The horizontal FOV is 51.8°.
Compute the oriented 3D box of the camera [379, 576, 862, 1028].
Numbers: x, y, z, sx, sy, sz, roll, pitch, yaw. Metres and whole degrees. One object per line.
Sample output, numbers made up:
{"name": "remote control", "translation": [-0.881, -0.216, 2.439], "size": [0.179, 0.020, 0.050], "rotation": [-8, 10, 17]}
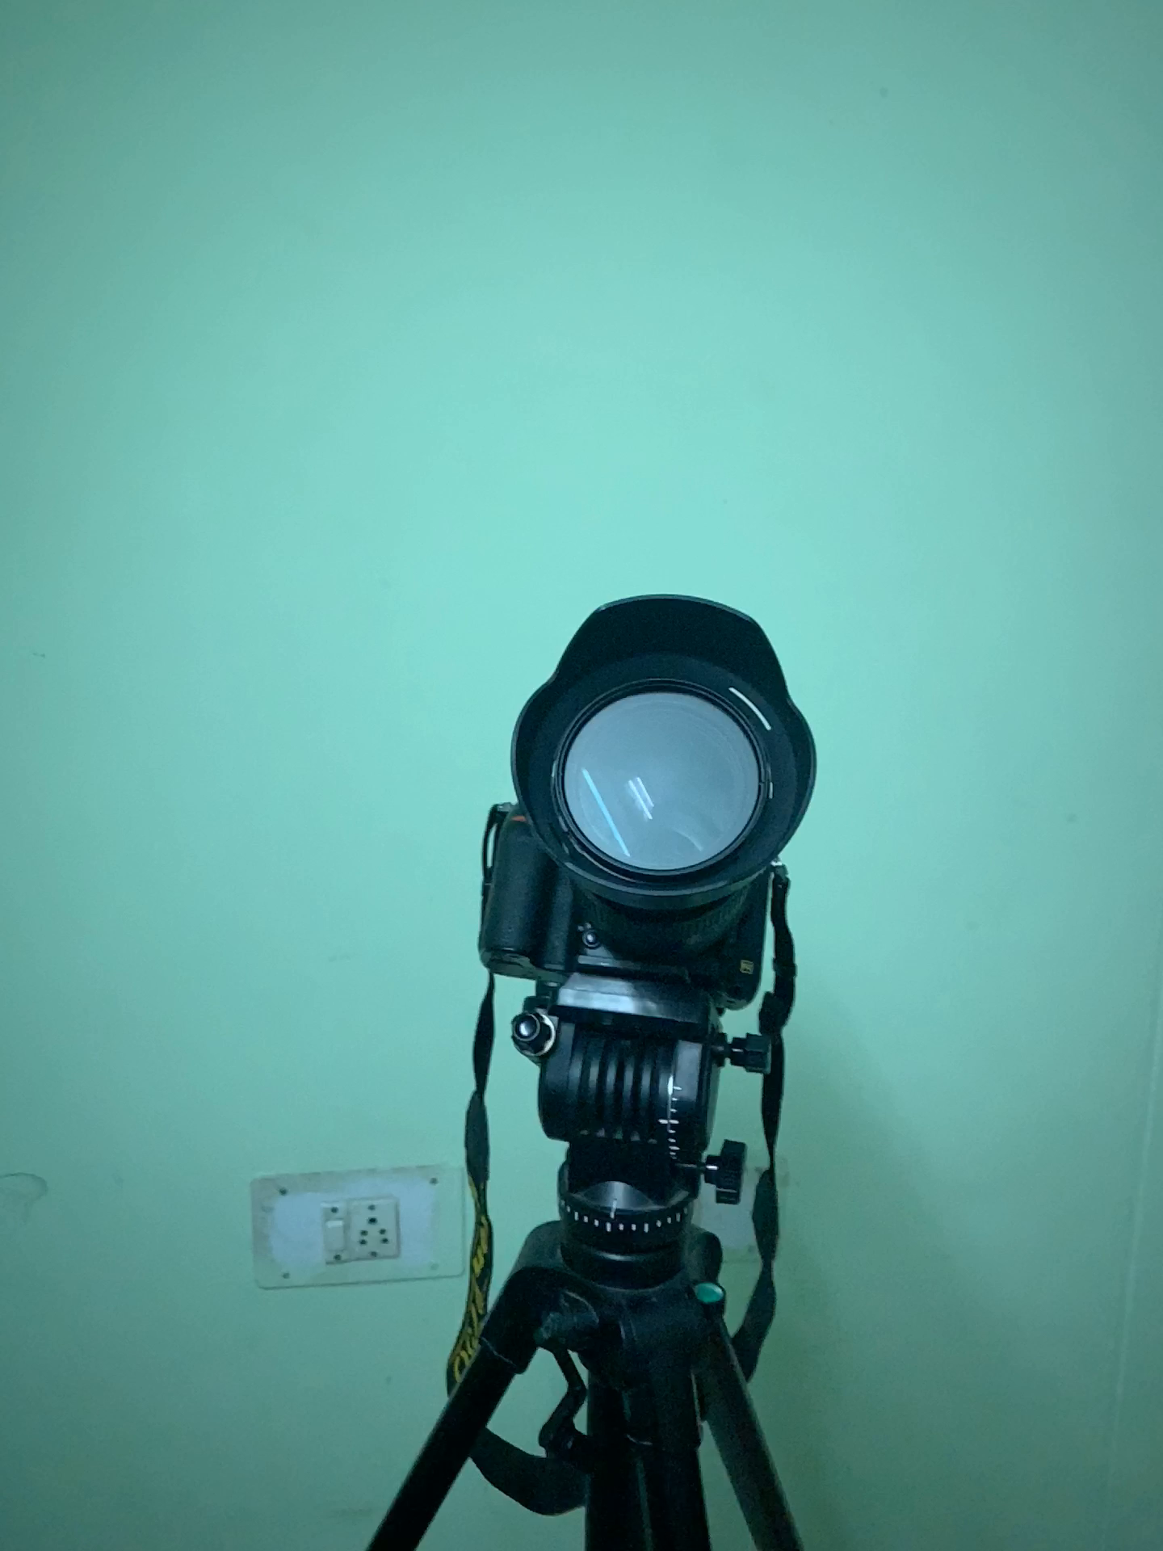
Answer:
{"name": "camera", "translation": [0.026, 0.029, 0.523], "size": [0.151, 0.120, 0.247], "rotation": [5, -17, 7]}
